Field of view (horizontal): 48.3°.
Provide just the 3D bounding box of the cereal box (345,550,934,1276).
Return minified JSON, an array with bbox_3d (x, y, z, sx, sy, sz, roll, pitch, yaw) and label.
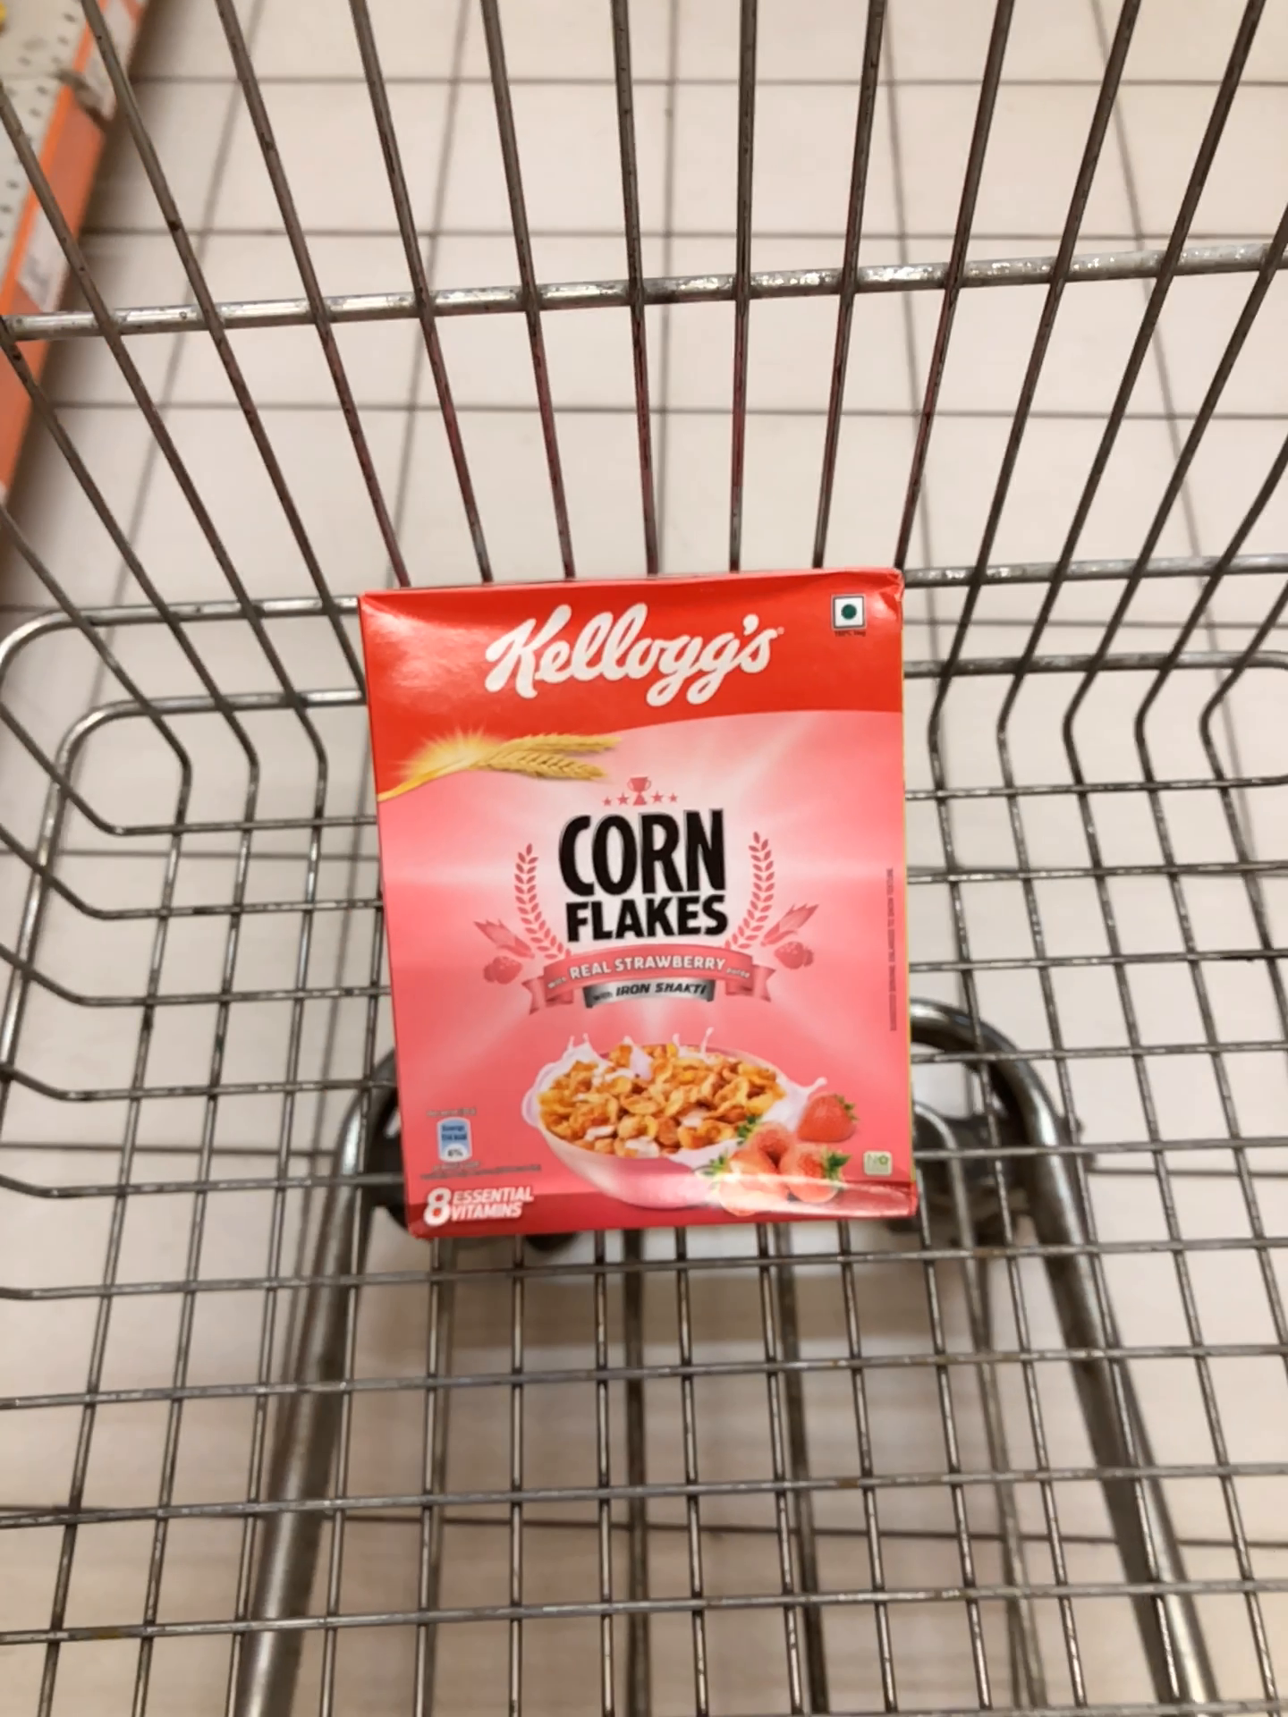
[{"bbox_3d":[0.002,0.013,0.385,0.140,0.050,0.180,-2,99,0],"label":"cereal box"}]
